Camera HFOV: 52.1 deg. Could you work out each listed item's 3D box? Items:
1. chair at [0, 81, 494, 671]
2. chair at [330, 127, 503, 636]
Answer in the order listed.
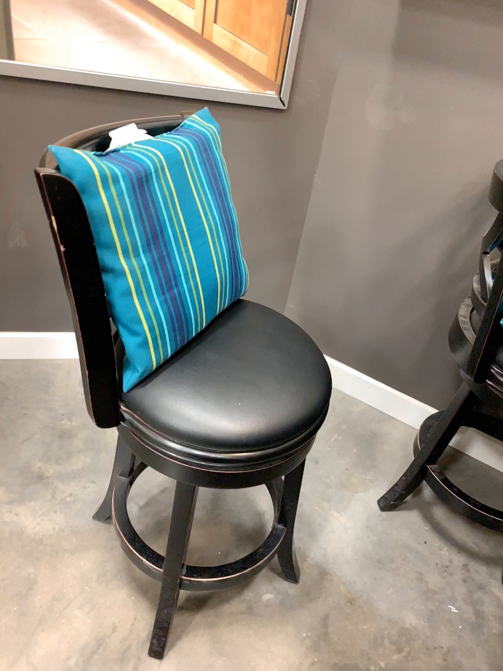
[{"bbox_3d":[-0.091,0.105,0.952,0.596,0.903,0.537,27,37,22],"label":"chair"},{"bbox_3d":[0.678,0.086,1.242,0.596,0.923,0.537,27,37,22],"label":"chair"}]
